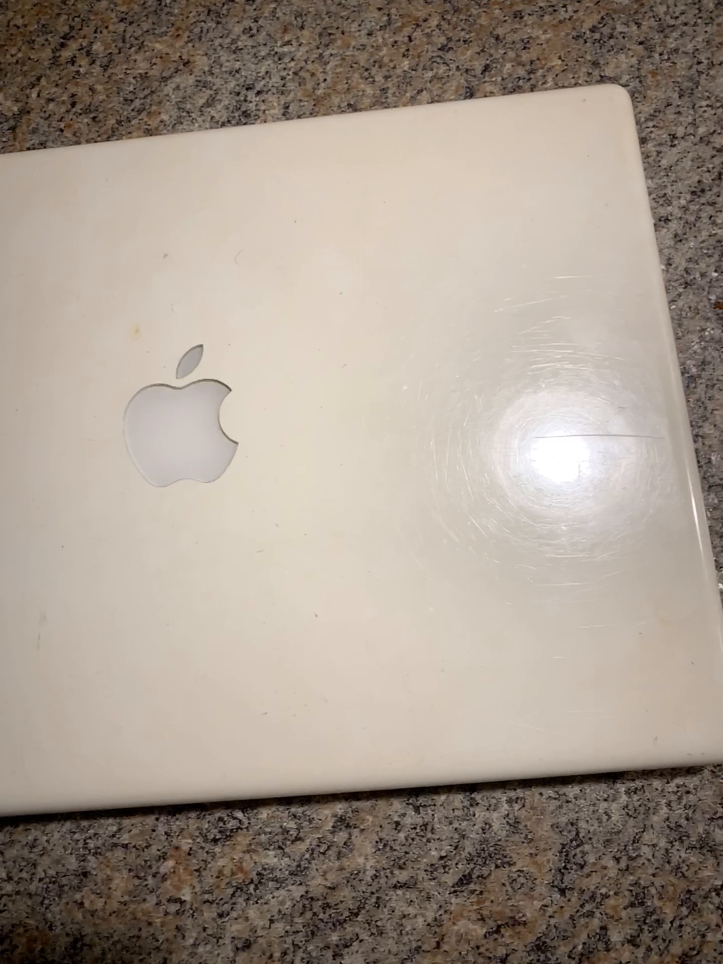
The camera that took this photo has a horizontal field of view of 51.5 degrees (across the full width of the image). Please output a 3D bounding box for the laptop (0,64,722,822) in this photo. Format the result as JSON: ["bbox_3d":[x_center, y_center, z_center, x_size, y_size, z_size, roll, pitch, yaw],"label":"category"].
[{"bbox_3d":[-0.060,-0.014,0.226,0.305,0.002,0.205,-6,78,6],"label":"laptop"}]
